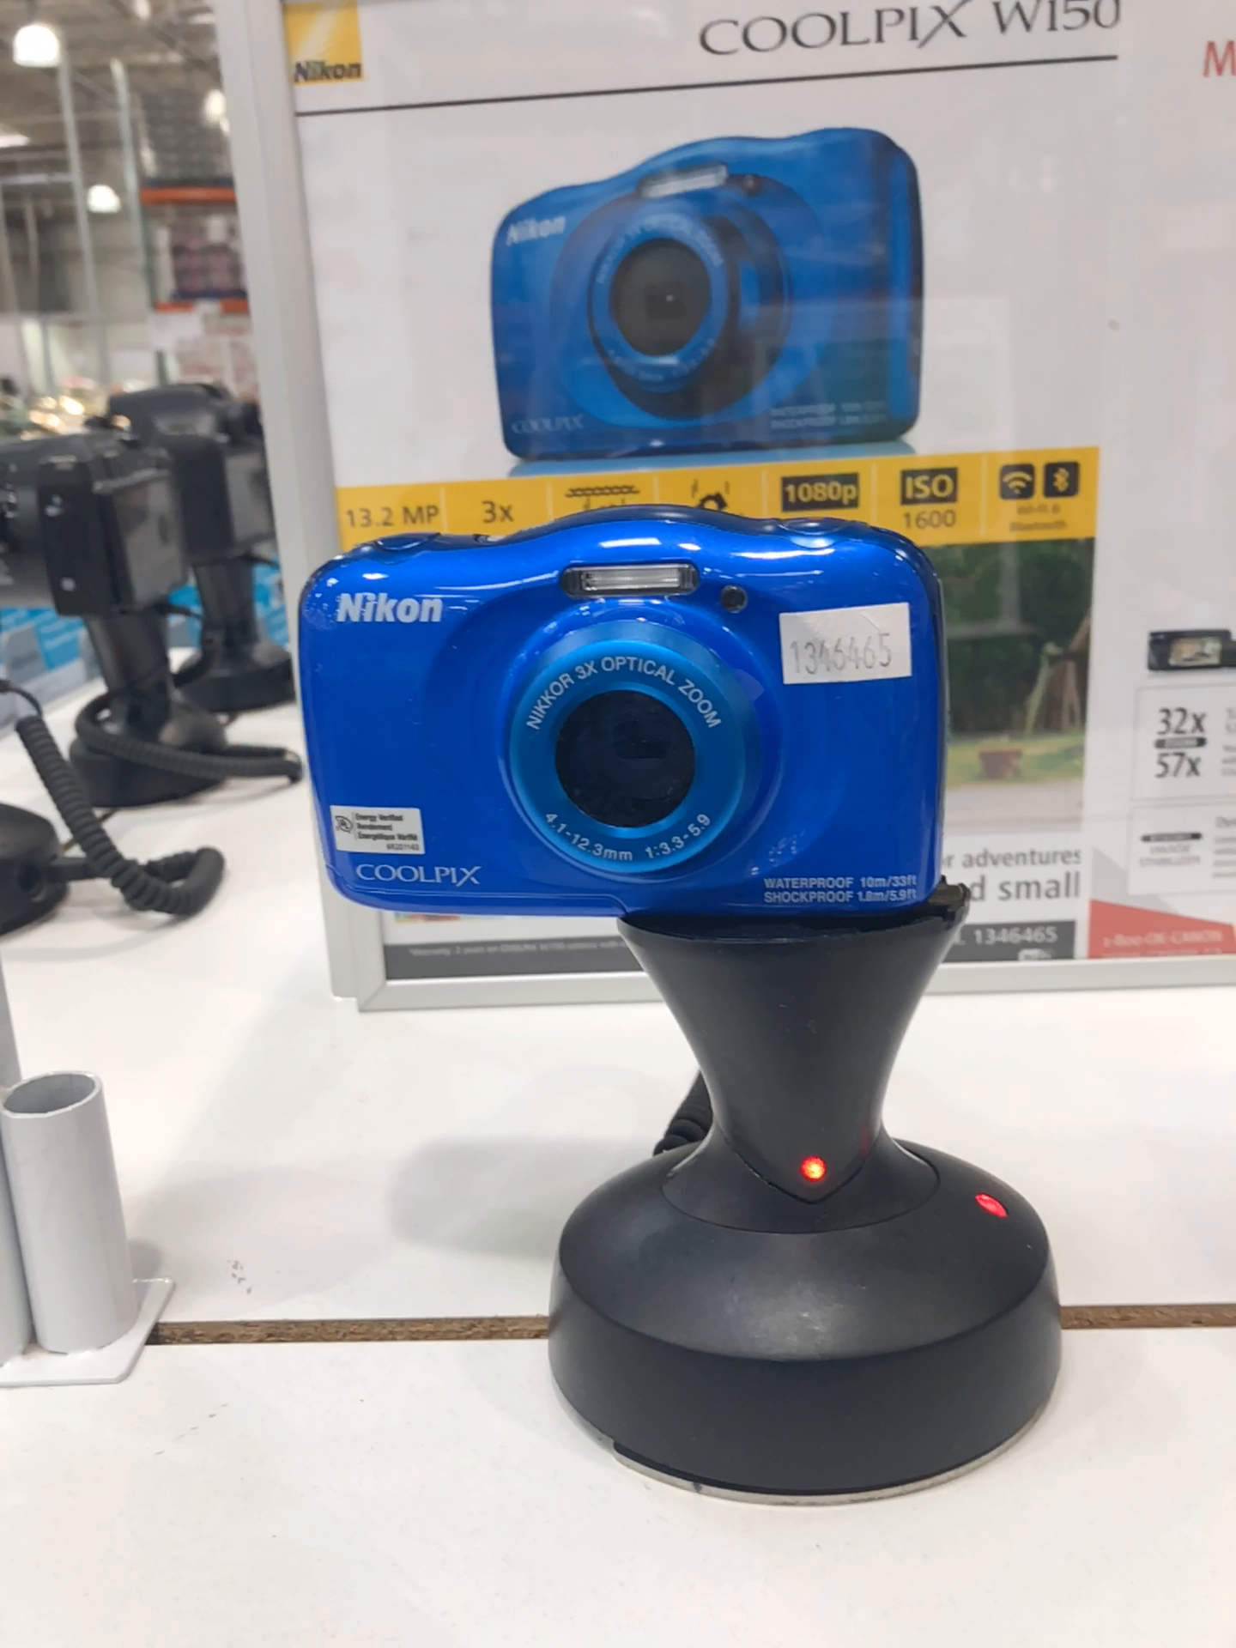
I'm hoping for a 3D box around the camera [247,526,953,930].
[{"bbox_3d":[-0.001,-0.017,0.241,0.110,0.060,0.040,-1,17,6],"label":"camera"}]
